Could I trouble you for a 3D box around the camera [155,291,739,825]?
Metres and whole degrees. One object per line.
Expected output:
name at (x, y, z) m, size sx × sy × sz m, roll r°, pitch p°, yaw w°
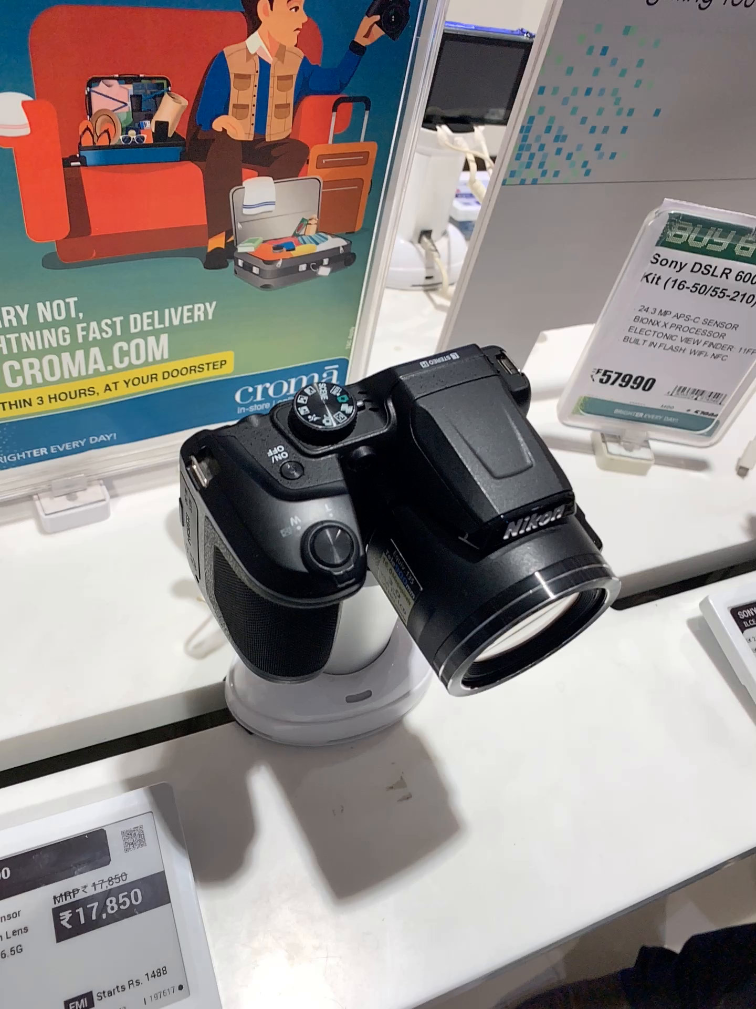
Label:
camera at (0.012, 0.008, 0.224) m, size 0.120 × 0.080 × 0.090 m, roll -20°, pitch 56°, yaw -28°
